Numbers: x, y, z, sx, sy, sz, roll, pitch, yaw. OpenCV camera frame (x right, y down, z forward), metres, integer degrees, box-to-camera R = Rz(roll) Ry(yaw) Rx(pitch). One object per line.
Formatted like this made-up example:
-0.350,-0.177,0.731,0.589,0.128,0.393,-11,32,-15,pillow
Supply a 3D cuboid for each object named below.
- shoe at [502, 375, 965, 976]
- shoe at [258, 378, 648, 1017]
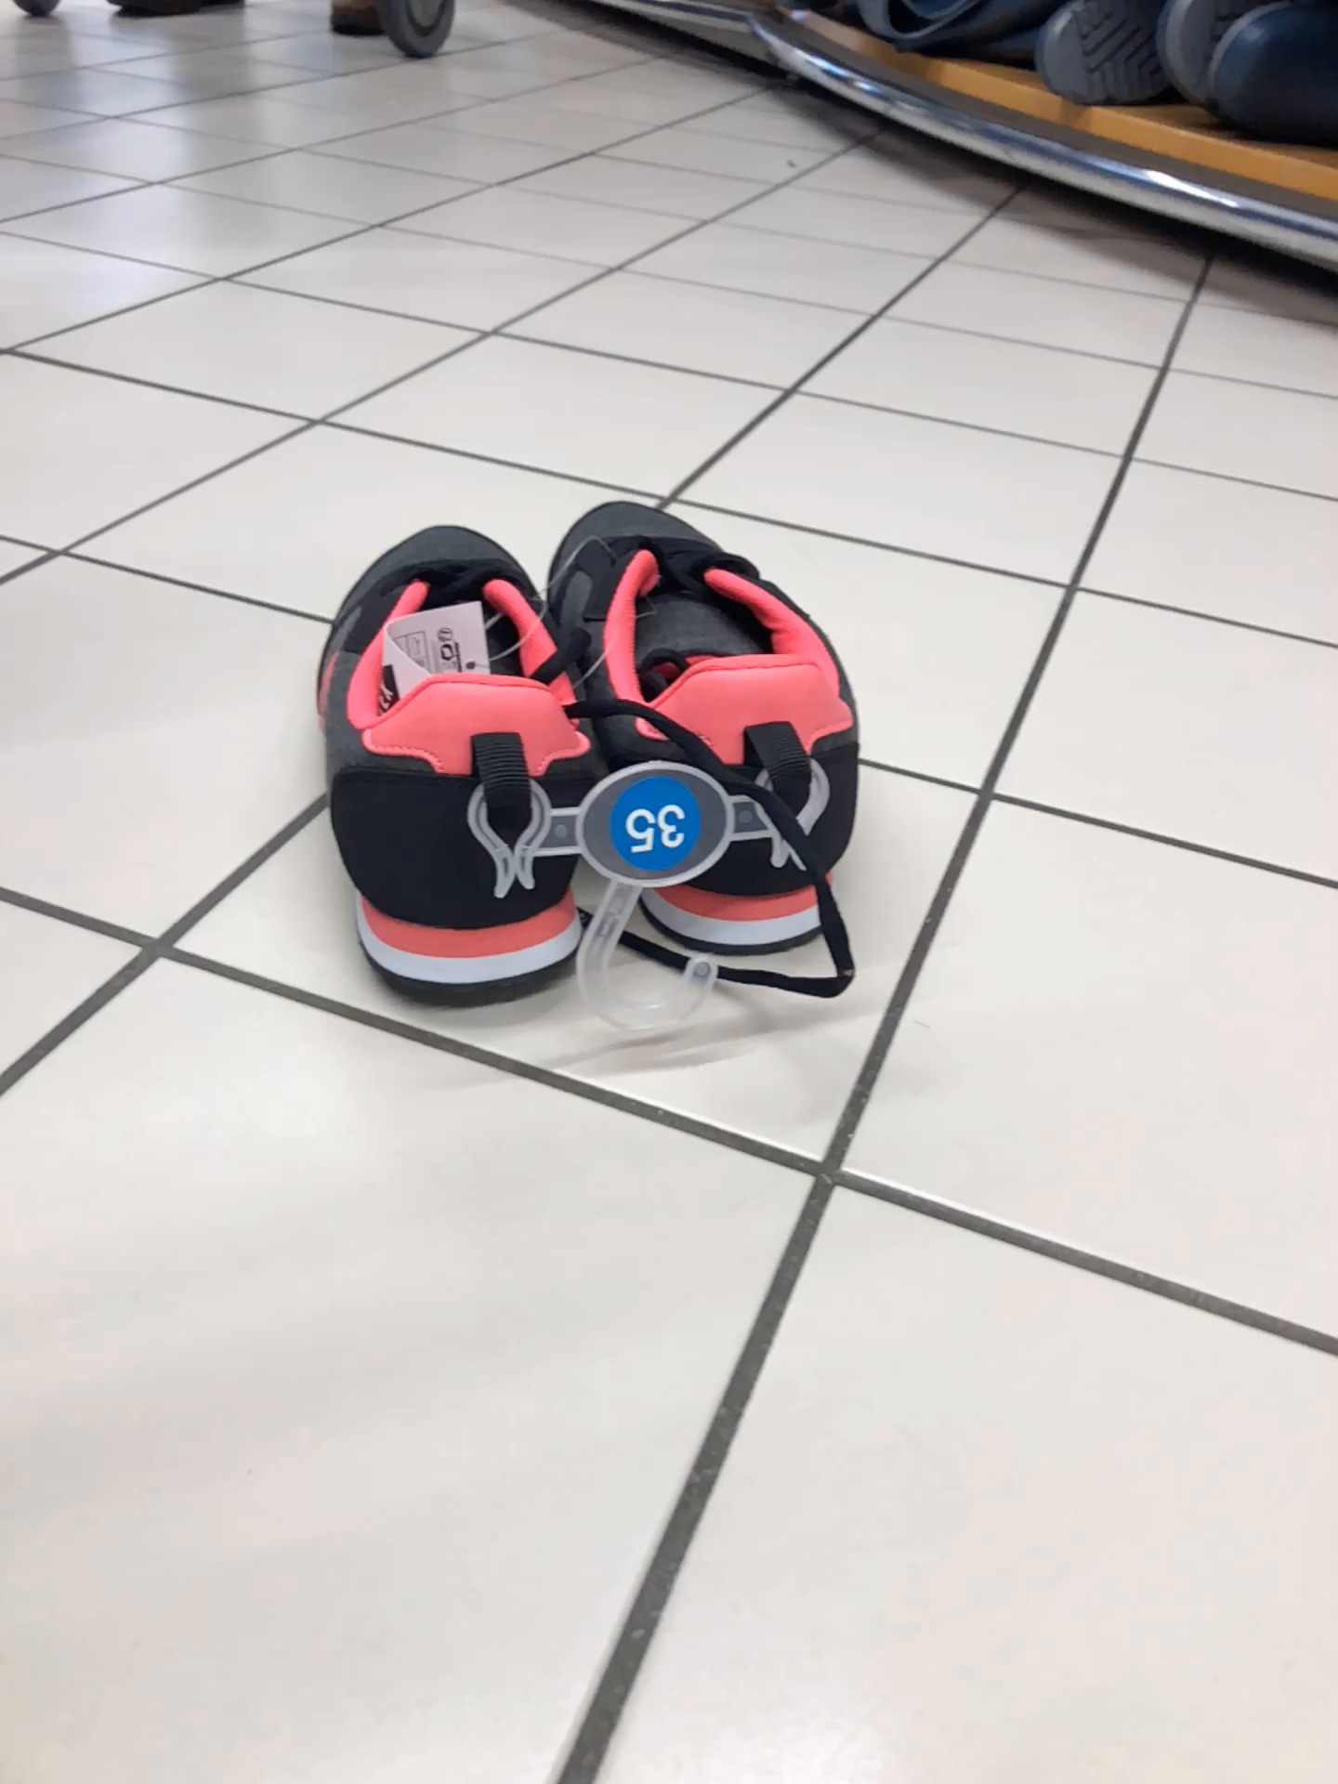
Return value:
0.005,-0.084,0.483,0.090,0.099,0.221,-4,37,-13,shoe
-0.074,-0.074,0.458,0.090,0.099,0.221,-3,36,-12,shoe
